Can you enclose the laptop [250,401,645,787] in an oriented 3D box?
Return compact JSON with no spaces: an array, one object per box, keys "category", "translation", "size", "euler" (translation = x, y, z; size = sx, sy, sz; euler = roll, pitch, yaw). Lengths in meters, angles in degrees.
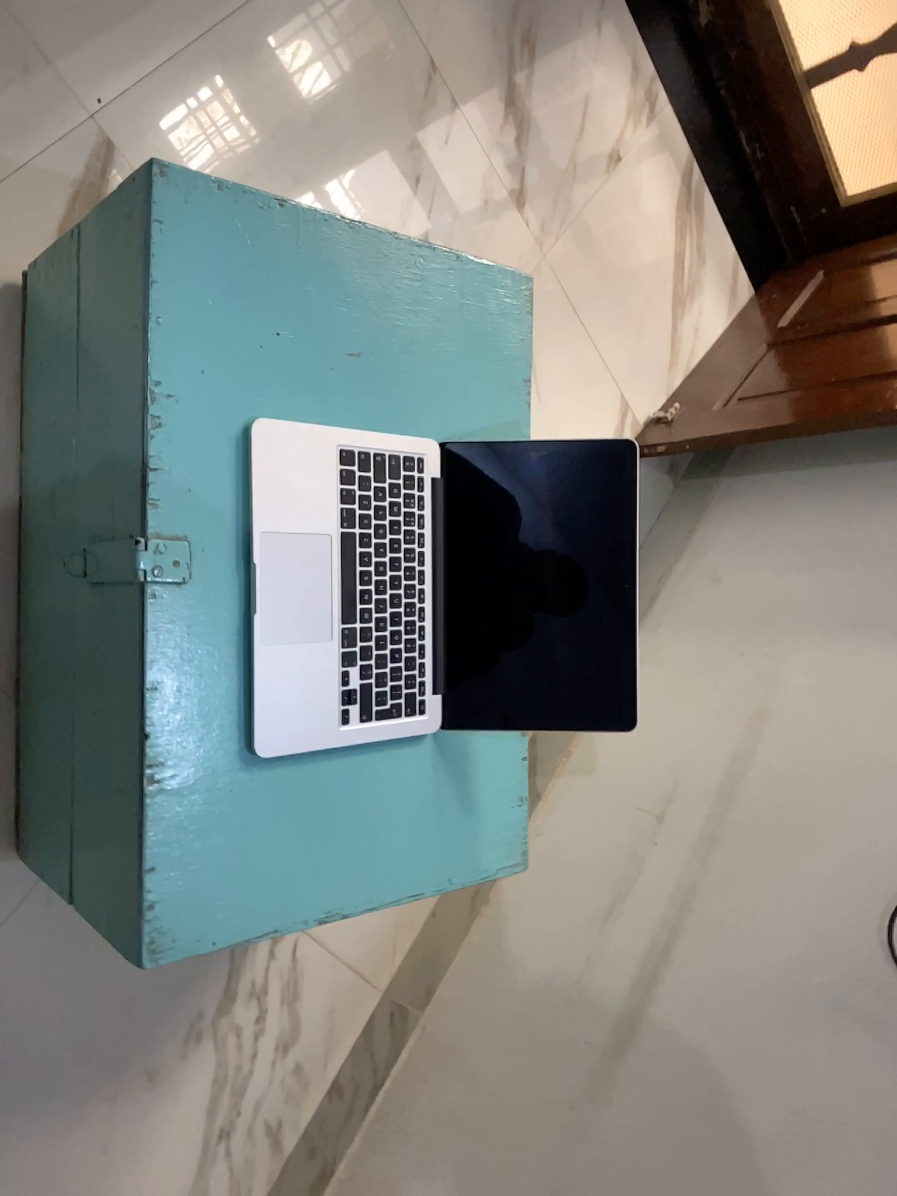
[{"category":"laptop","translation":[0.014,-0.008,0.914],"size":[0.379,0.148,0.313],"euler":[-2,92,-40]}]
